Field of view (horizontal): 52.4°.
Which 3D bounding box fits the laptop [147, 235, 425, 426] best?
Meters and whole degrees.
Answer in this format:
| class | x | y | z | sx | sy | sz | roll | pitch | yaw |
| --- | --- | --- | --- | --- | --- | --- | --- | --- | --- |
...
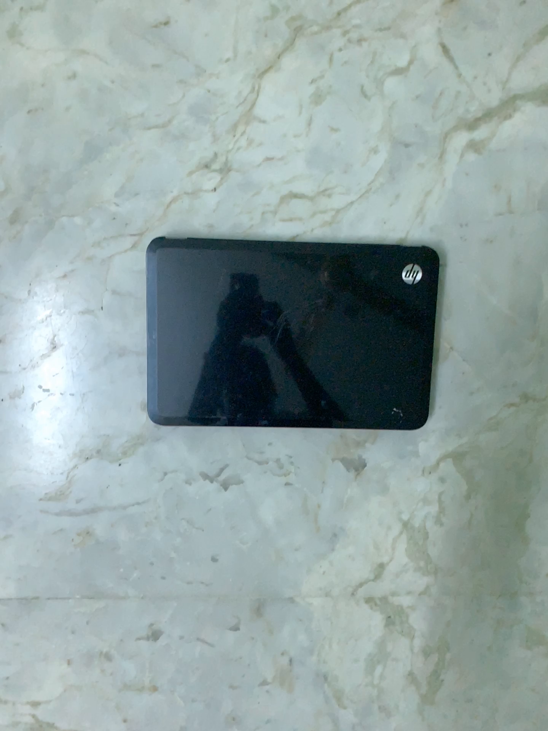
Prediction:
| class | x | y | z | sx | sy | sz | roll | pitch | yaw |
| --- | --- | --- | --- | --- | --- | --- | --- | --- | --- |
| laptop | 0.015 | -0.042 | 0.688 | 0.333 | 0.022 | 0.222 | 2 | 91 | -1 |
